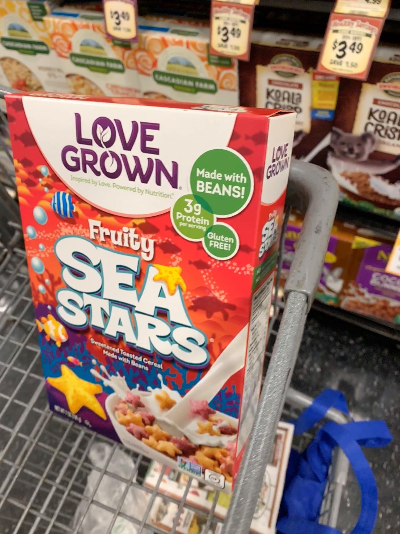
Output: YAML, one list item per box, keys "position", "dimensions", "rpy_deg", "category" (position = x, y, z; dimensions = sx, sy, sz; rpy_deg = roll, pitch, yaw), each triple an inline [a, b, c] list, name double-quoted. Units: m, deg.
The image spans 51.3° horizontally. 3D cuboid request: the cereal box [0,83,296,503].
- position: [-0.047, 0.018, 0.282]
  dimensions: [0.180, 0.249, 0.050]
  rpy_deg: [14, 29, 23]
  category: "cereal box"
